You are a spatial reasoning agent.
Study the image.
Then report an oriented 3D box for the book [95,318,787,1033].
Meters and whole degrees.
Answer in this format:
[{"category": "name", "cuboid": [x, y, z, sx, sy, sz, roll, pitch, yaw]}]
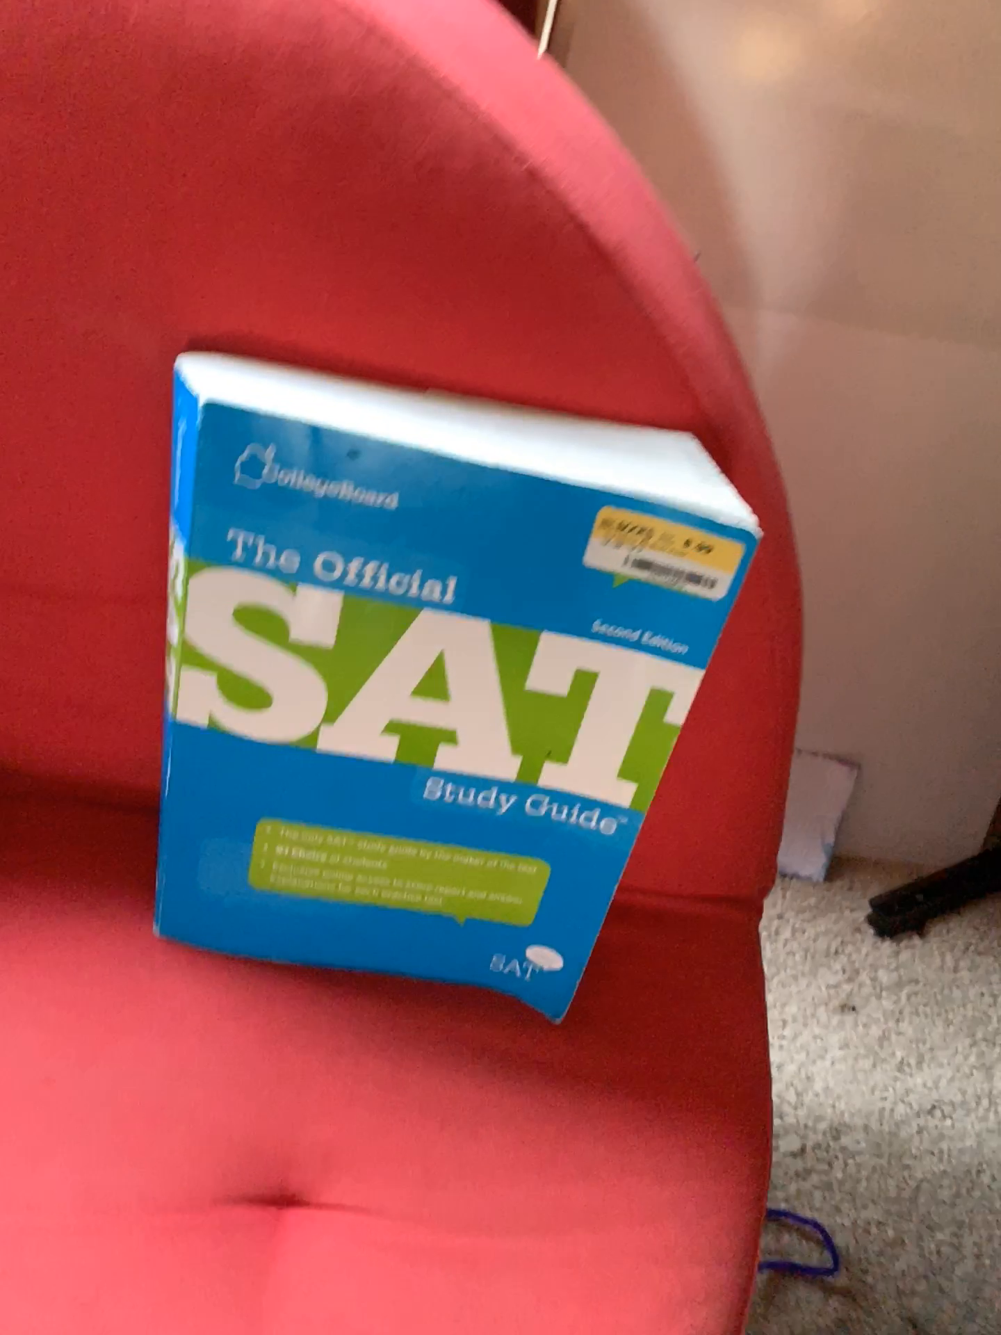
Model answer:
[{"category": "book", "cuboid": [-0.039, 0.013, 0.442, 0.230, 0.259, 0.080, 11, 26, -4]}]
